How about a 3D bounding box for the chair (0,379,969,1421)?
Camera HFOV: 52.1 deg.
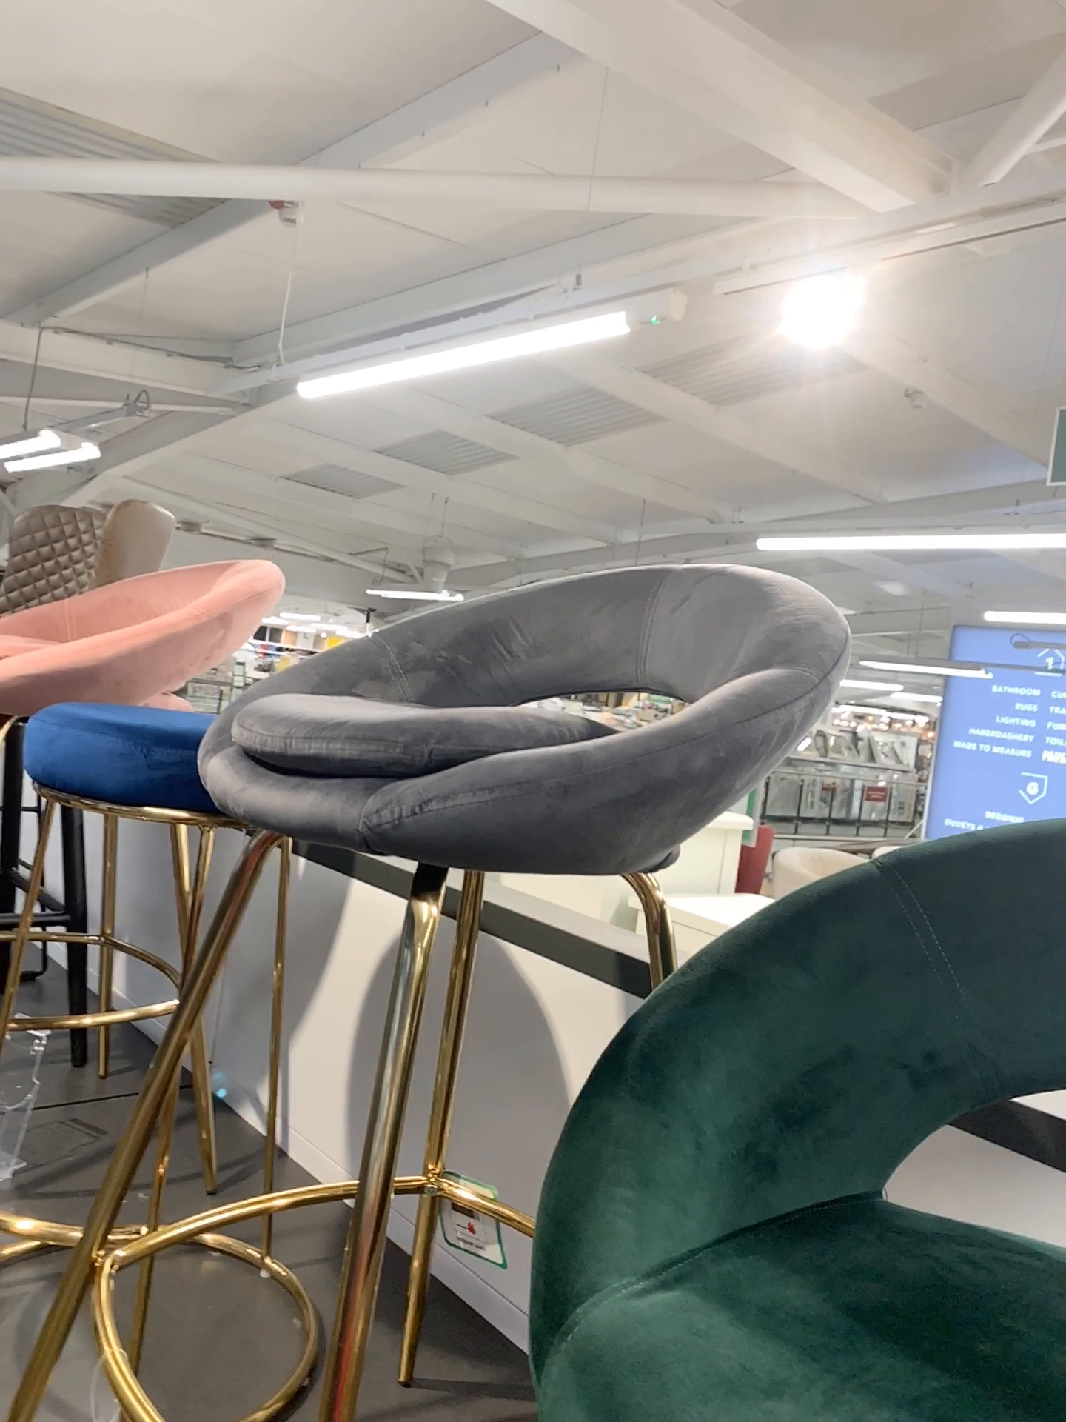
[{"bbox_3d":[-0.061,0.270,0.860,0.474,0.874,0.487,8,0,-42],"label":"chair"}]
